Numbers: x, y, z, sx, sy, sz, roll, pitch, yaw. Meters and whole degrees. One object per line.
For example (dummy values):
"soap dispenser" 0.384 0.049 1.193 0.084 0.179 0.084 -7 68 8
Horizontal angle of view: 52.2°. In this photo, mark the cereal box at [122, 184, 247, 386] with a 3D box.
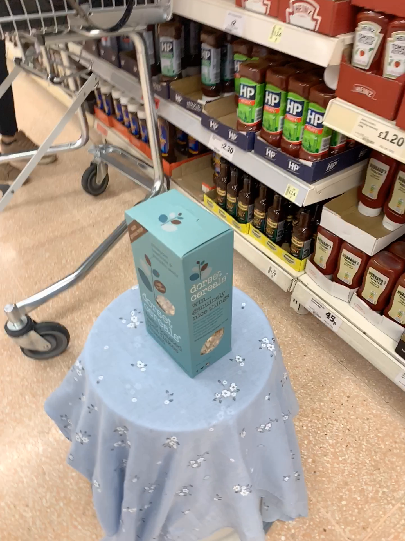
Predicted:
"cereal box" -0.021 0.026 0.564 0.090 0.238 0.121 -31 51 -28
